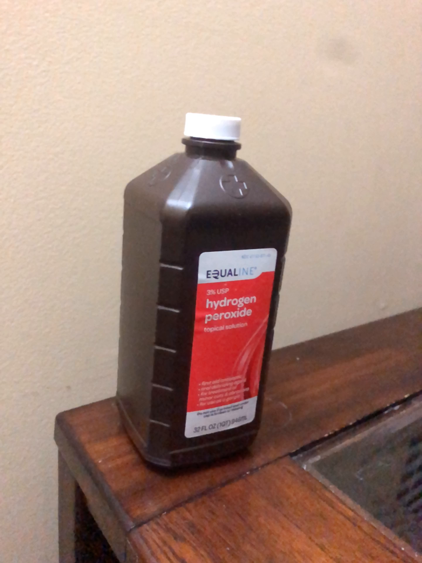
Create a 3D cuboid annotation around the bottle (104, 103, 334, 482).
[{"bbox_3d":[-0.005,0.001,0.278,0.090,0.190,0.080,-5,22,-28],"label":"bottle"}]
